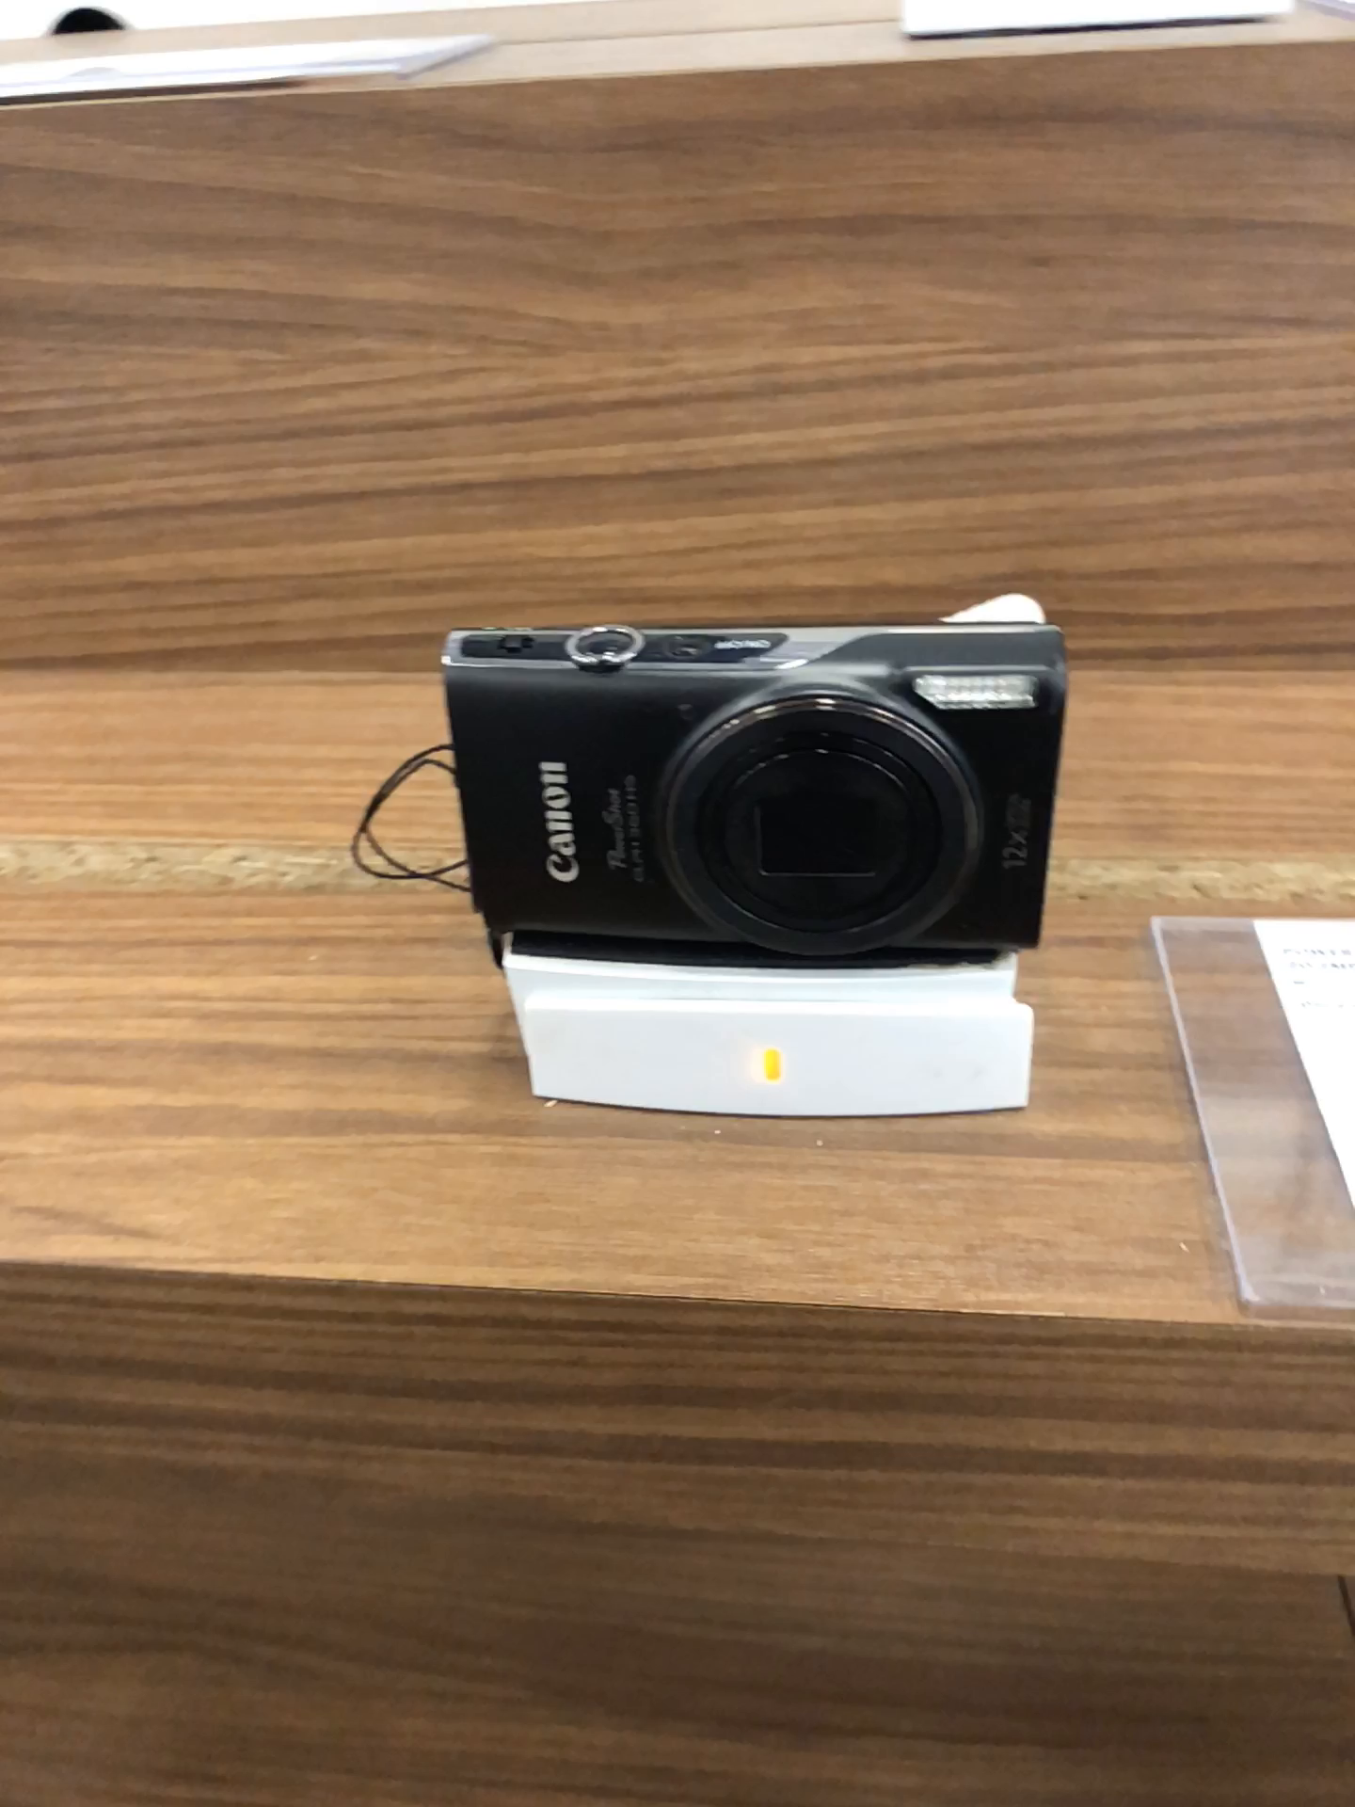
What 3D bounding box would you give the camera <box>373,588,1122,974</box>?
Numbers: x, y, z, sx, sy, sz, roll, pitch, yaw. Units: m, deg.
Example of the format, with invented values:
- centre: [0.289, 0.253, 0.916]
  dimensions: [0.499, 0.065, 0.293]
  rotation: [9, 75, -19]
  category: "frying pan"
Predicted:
- centre: [0.011, -0.020, 0.249]
  dimensions: [0.110, 0.060, 0.020]
  rotation: [1, 37, 6]
  category: "camera"
